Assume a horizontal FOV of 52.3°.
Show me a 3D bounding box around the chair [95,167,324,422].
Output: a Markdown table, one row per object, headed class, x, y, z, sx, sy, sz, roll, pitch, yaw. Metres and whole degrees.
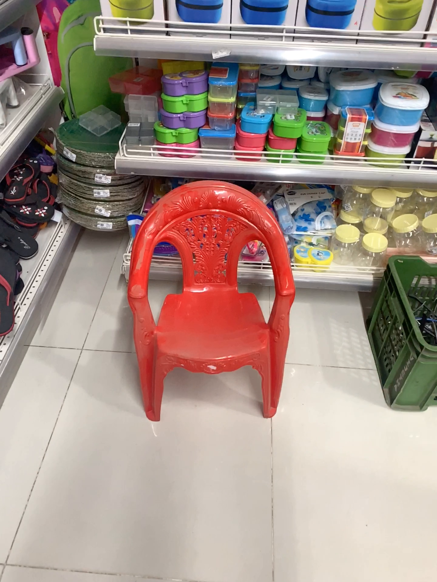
| class | x | y | z | sx | sy | sz | roll | pitch | yaw |
| --- | --- | --- | --- | --- | --- | --- | --- | --- | --- |
| chair | -0.021 | 0.018 | 1.121 | 0.410 | 0.498 | 0.412 | 0 | 45 | -1 |
